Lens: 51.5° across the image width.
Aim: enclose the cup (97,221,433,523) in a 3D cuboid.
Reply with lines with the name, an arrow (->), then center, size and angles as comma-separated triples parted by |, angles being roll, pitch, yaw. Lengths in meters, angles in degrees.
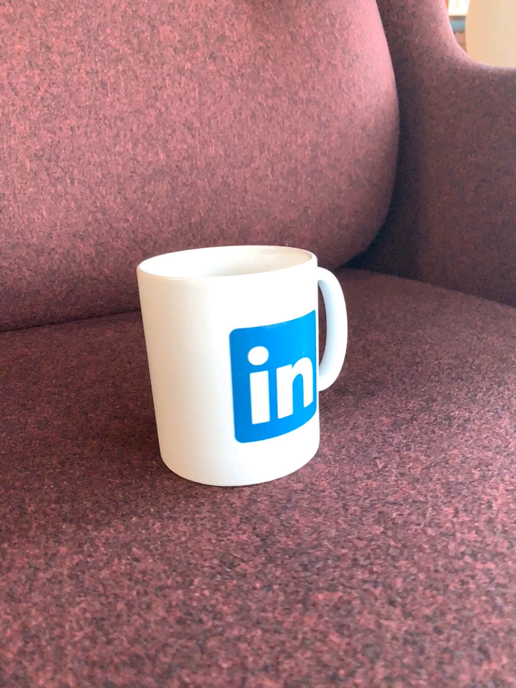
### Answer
cup -> 0.003, -0.001, 0.250 | 0.120, 0.089, 0.090 | -14, 22, -24
